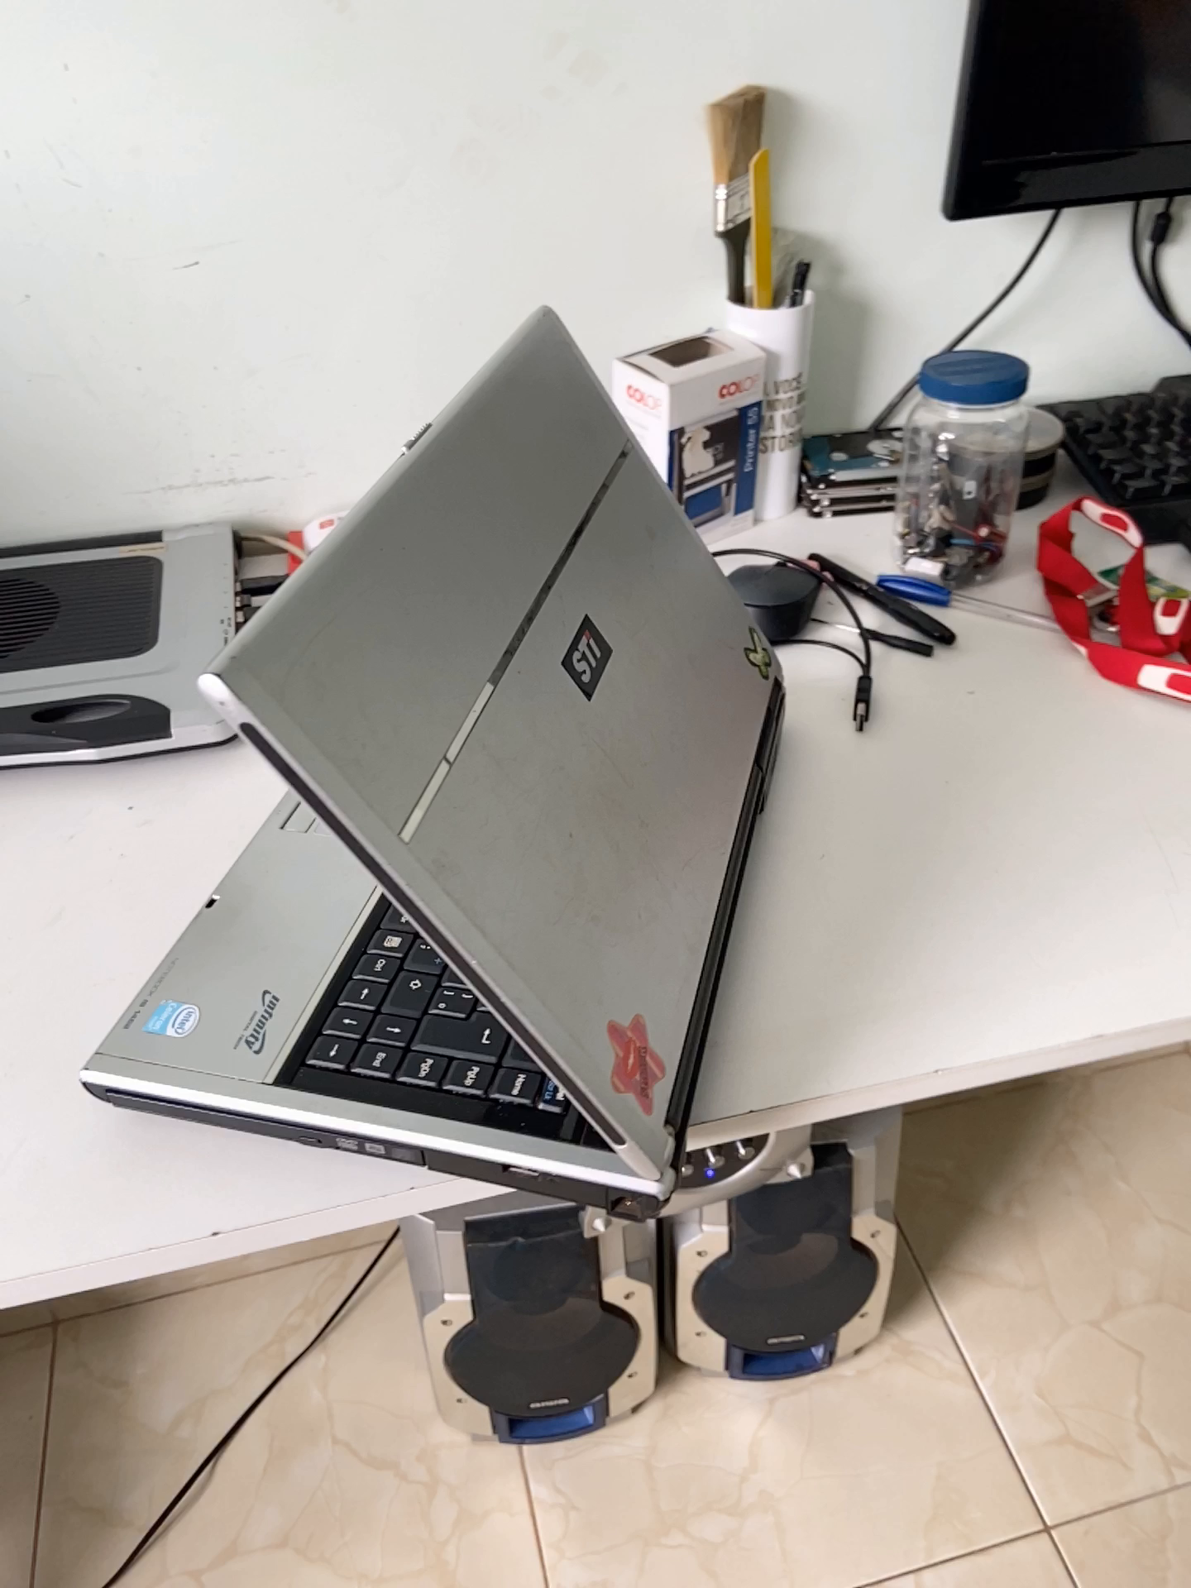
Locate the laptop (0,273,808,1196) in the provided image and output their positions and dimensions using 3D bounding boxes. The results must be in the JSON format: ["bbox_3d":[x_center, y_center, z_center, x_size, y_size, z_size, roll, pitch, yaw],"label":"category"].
[{"bbox_3d":[-0.051,-0.058,0.531,0.236,0.210,0.339,8,39,11],"label":"laptop"}]
